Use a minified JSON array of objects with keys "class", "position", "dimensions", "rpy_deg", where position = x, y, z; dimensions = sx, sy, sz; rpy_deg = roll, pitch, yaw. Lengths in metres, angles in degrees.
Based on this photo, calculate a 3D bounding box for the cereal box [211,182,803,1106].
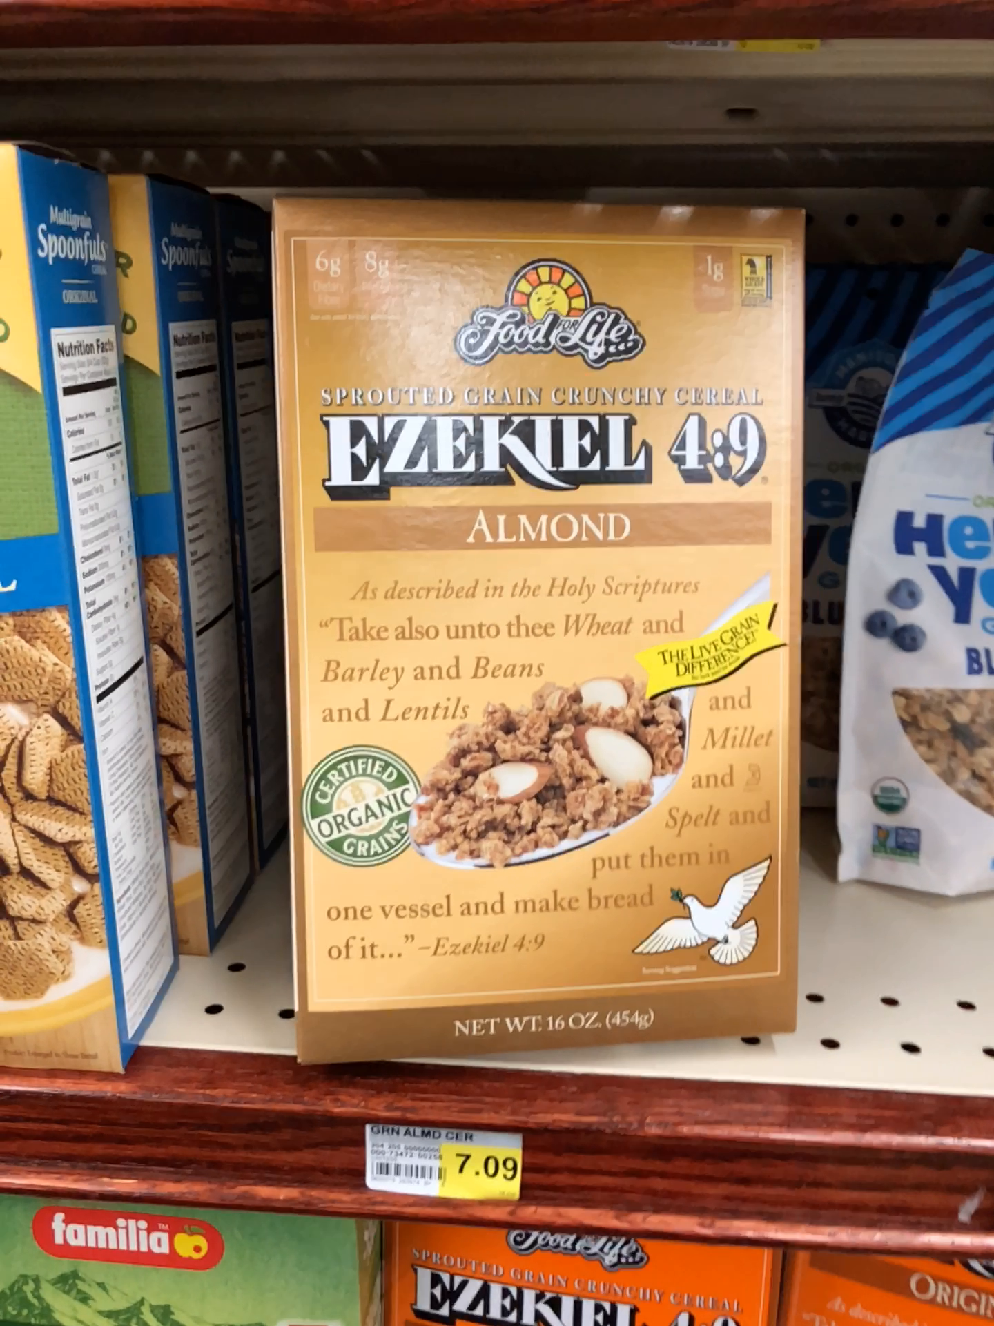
[{"class":"cereal box","position":[0.003,-0.005,0.300],"dimensions":[0.140,0.220,0.060],"rpy_deg":[-1,5,-6]}]
